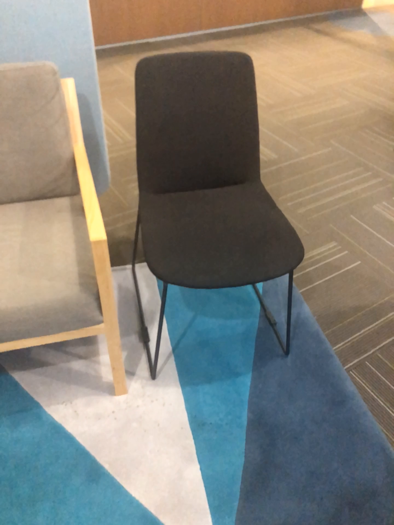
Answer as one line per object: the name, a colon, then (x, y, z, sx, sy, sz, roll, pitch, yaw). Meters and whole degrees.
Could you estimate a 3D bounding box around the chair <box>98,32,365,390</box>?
chair: (0.016, -0.168, 1.371, 0.501, 0.823, 0.685, -8, 43, -10)
